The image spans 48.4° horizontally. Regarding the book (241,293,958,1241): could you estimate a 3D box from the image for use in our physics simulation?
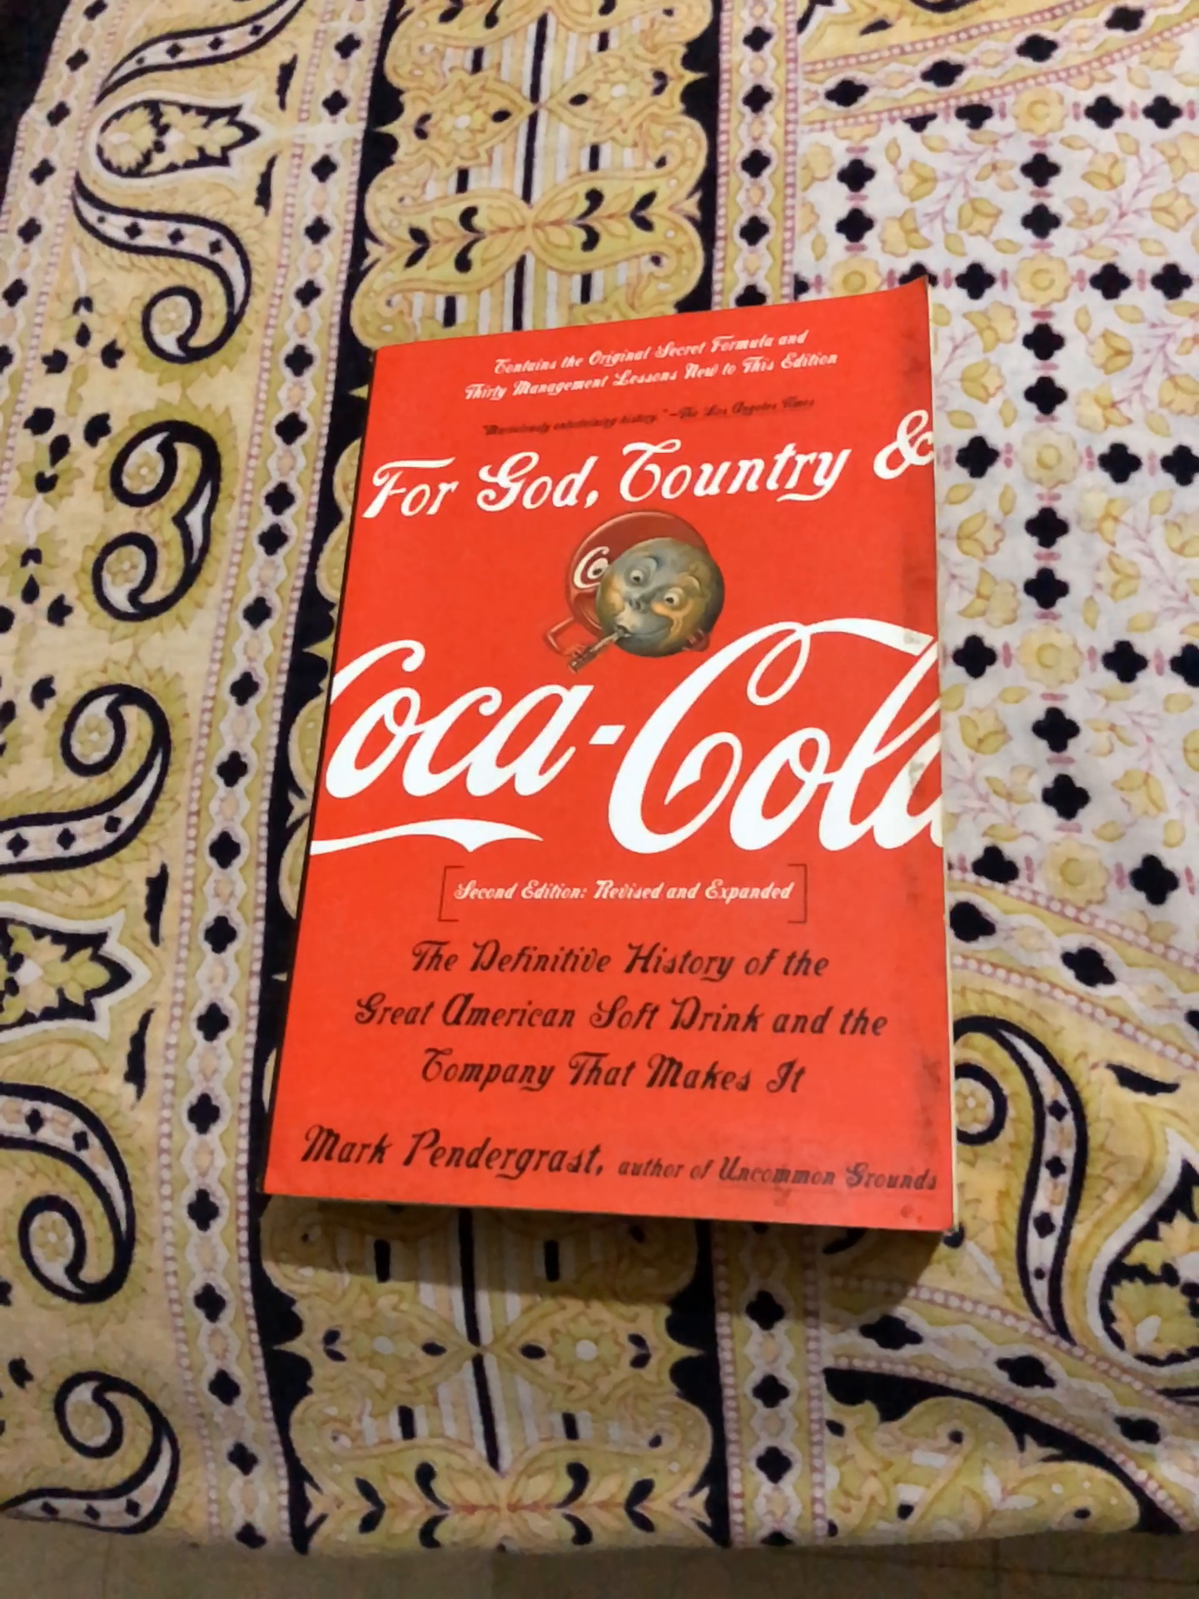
[{"bbox_3d":[0.007,-0.011,0.348,0.160,0.050,0.230,-1,71,14],"label":"book"}]
